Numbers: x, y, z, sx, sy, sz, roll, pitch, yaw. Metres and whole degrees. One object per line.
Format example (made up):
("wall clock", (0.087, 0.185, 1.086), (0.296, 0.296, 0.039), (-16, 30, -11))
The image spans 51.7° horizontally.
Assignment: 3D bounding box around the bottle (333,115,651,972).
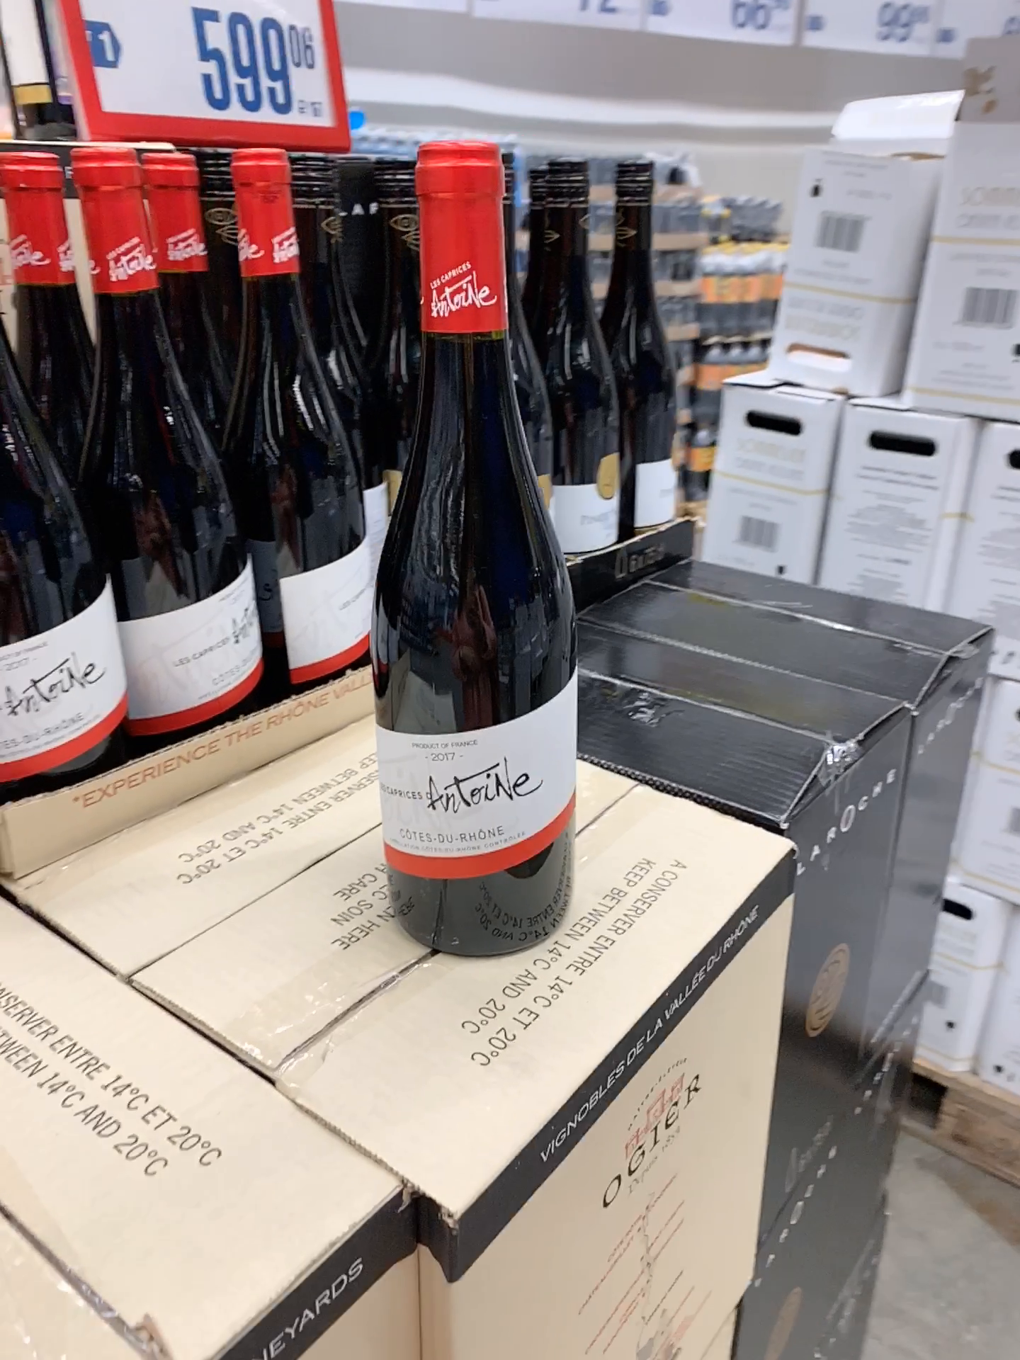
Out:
("bottle", (-0.007, -0.041, 0.399), (0.090, 0.298, 0.090), (1, 24, -1))
